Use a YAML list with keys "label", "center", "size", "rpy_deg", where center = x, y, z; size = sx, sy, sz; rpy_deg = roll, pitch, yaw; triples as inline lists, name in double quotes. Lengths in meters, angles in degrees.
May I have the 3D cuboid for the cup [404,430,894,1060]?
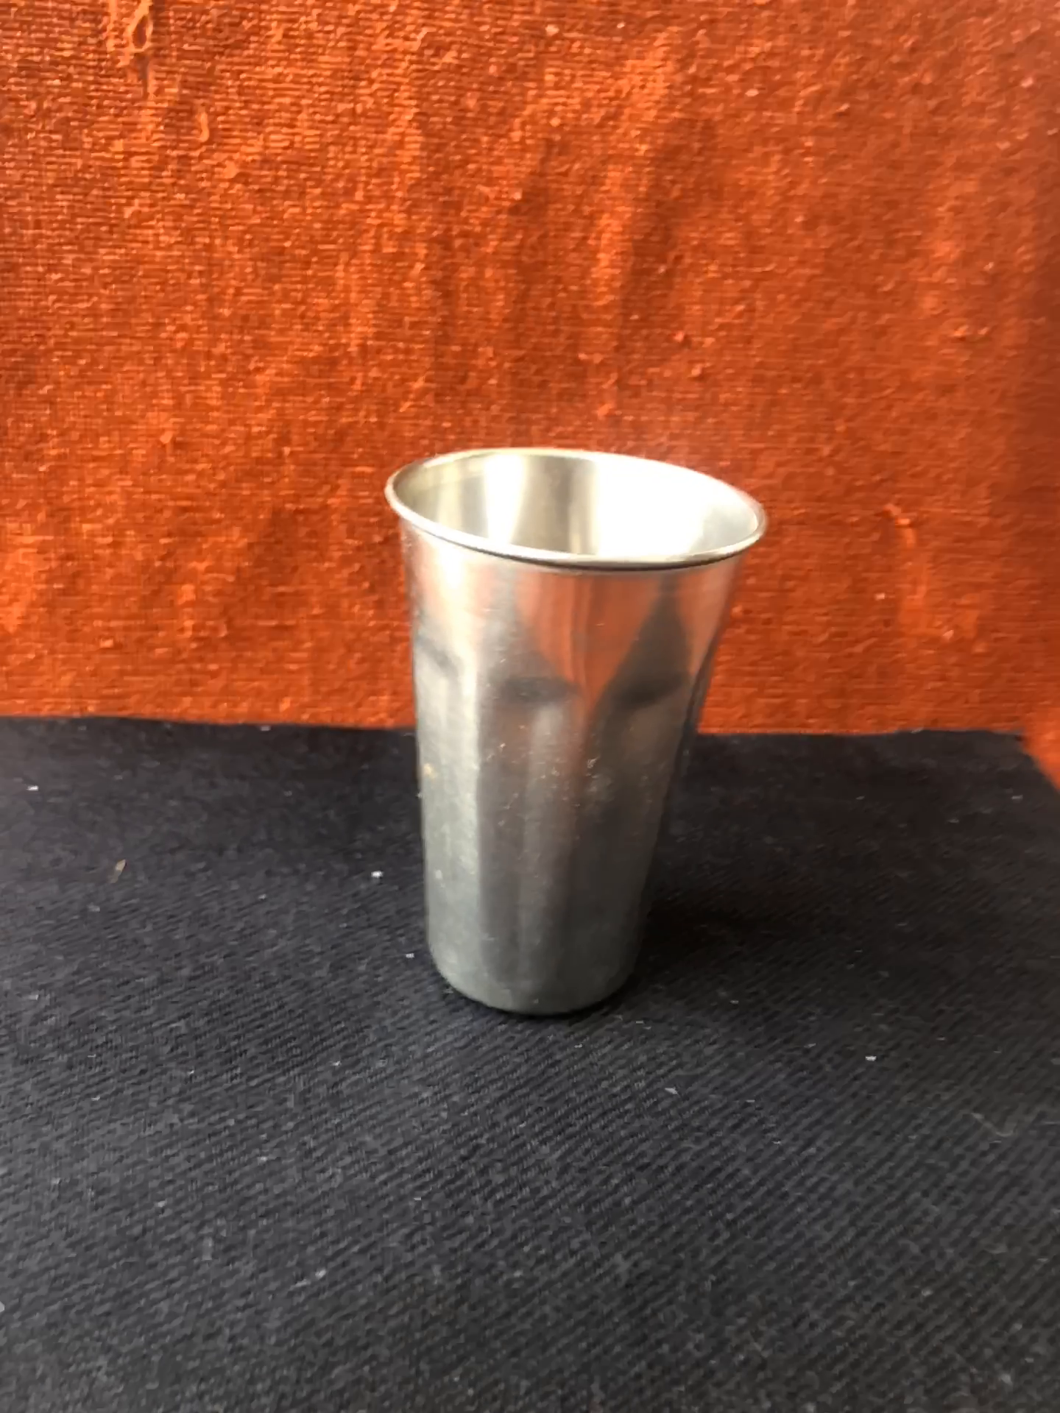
- label: "cup"
  center: [0.014, 0.005, 0.235]
  size: [0.070, 0.100, 0.070]
  rpy_deg: [4, 25, -2]
